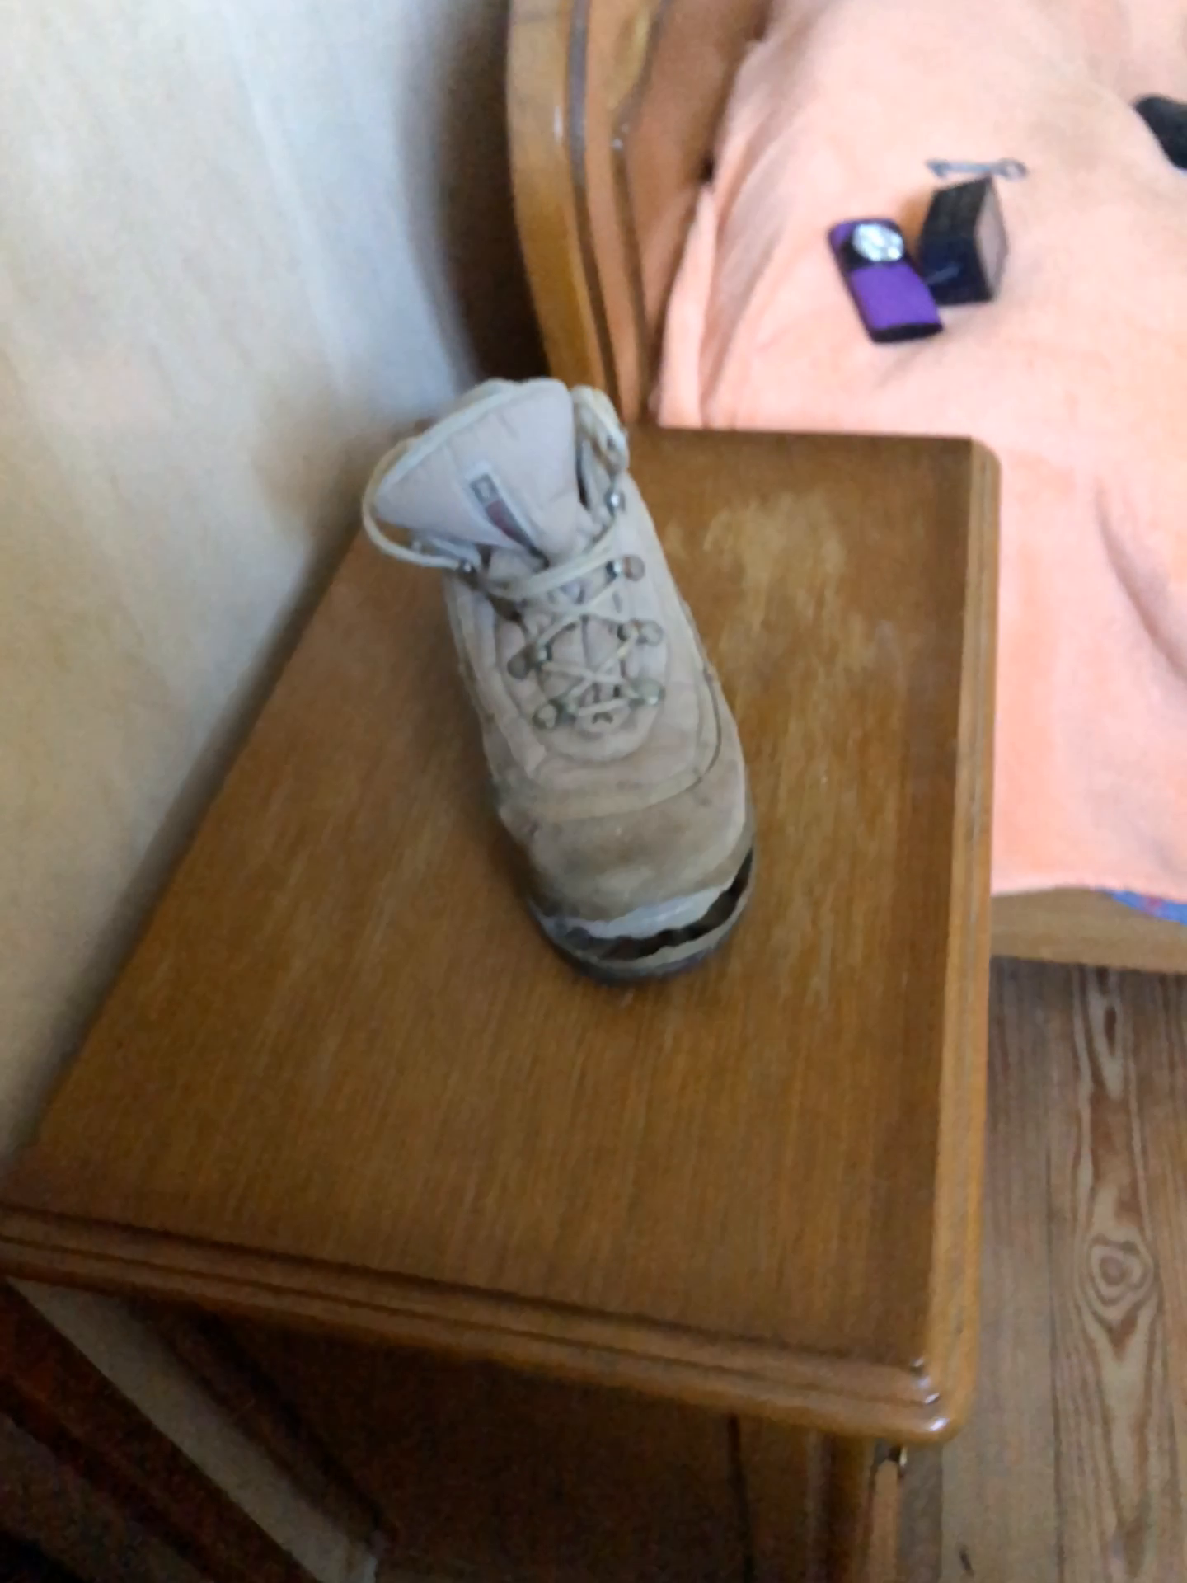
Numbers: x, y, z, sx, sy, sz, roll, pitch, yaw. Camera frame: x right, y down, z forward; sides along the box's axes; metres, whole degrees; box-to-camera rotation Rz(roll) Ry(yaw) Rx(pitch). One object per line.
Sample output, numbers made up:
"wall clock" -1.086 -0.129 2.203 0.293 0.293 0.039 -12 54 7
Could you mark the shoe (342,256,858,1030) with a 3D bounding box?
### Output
"shoe" -0.008 -0.077 0.536 0.130 0.139 0.291 -14 46 -4
